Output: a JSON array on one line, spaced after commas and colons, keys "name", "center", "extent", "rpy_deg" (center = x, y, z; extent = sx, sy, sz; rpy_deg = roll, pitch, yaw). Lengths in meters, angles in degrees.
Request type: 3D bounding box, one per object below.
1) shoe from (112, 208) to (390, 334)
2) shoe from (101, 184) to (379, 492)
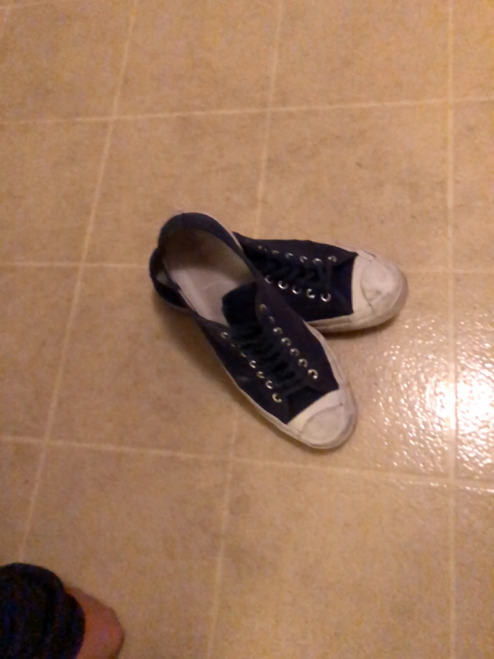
[{"name": "shoe", "center": [0.007, -0.065, 0.614], "extent": [0.290, 0.080, 0.110], "rpy_deg": [3, 78, 6]}, {"name": "shoe", "center": [0.002, 0.003, 0.544], "extent": [0.100, 0.100, 0.290], "rpy_deg": [-38, 93, 17]}]
